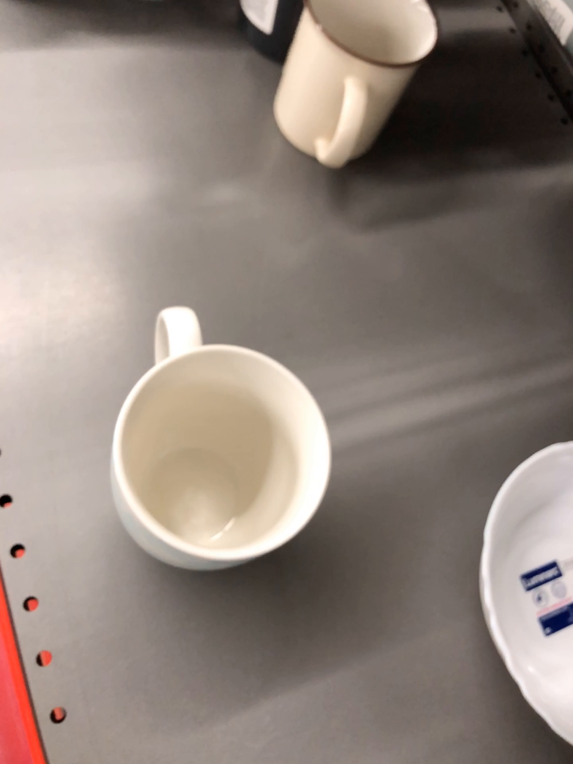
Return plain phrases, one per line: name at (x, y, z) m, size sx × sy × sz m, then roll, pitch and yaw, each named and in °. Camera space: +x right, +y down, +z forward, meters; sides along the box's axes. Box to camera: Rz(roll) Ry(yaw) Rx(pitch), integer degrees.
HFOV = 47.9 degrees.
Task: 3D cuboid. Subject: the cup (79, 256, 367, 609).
cup at (-0.036, 0.027, 0.287) m, size 0.083 × 0.099 × 0.121 m, roll -10°, pitch 73°, yaw -18°
